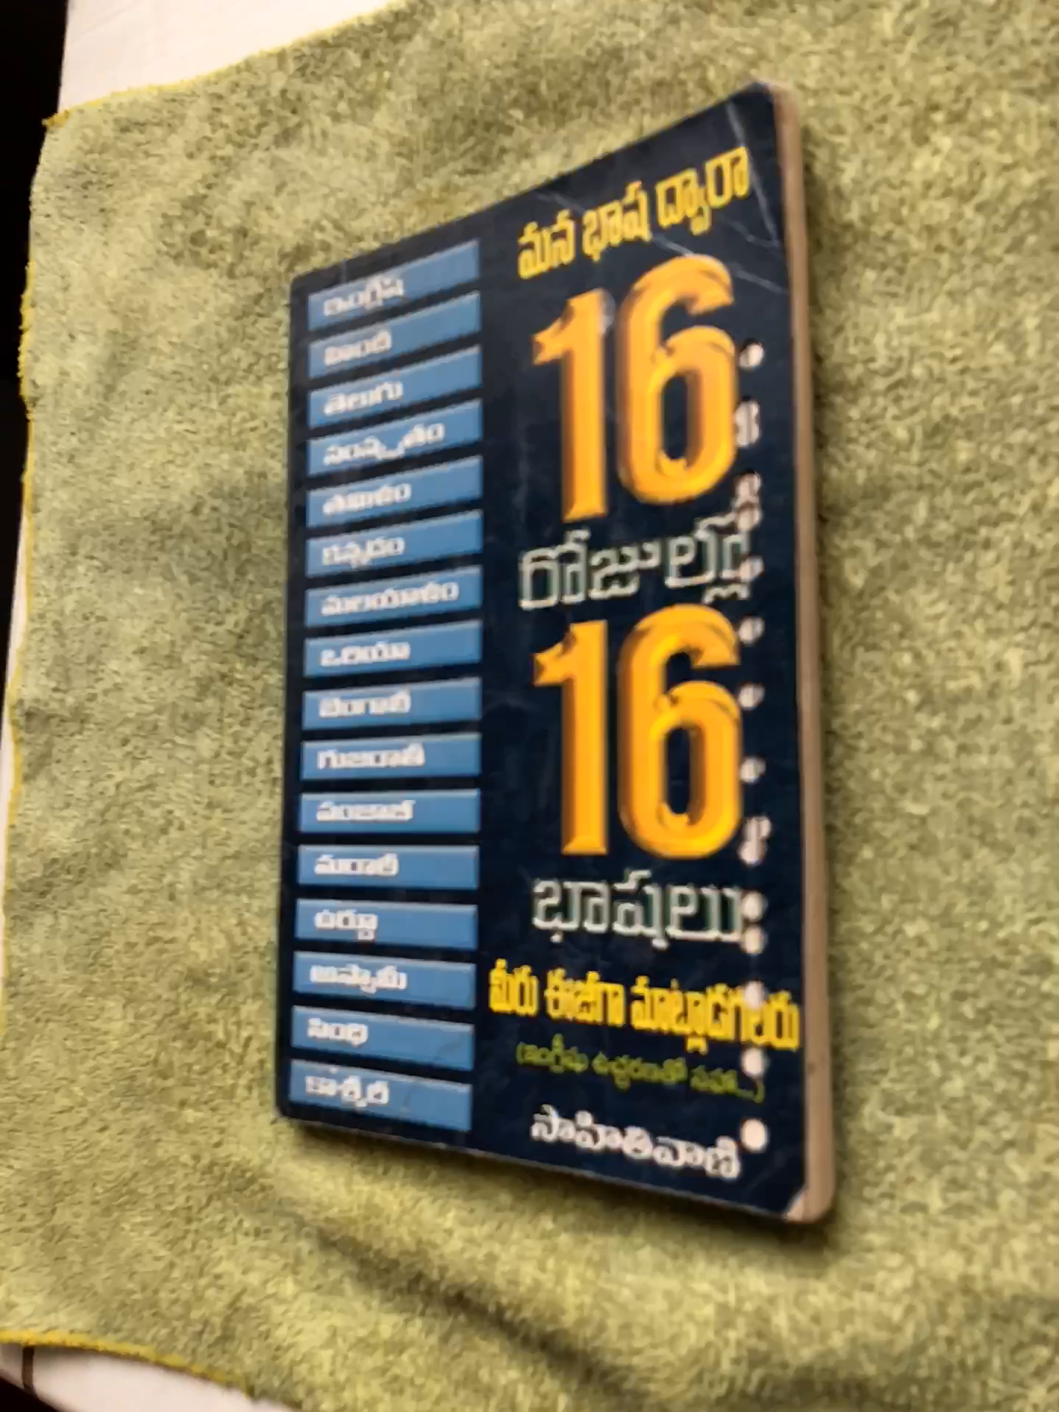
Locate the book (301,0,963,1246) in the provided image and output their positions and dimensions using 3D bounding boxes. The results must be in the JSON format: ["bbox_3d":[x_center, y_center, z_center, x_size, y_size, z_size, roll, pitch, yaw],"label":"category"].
[{"bbox_3d":[0.013,-0.017,0.251,0.141,0.030,0.220,-4,82,36],"label":"book"}]
